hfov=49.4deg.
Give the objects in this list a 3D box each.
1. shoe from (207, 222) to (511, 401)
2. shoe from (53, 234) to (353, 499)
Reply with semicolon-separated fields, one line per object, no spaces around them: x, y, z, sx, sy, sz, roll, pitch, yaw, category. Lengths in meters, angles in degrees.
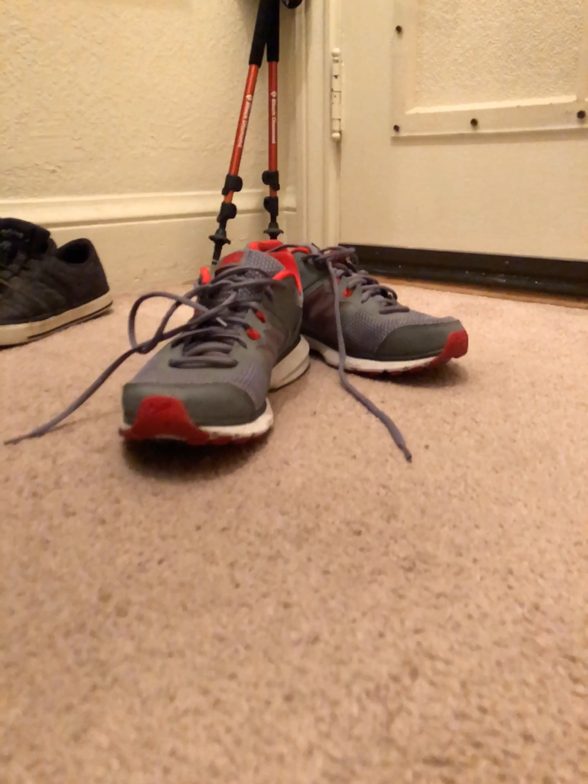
0.048;-0.098;0.644;0.113;0.120;0.298;-17;25;-39;shoe
-0.041;-0.047;0.505;0.113;0.120;0.299;5;20;16;shoe
